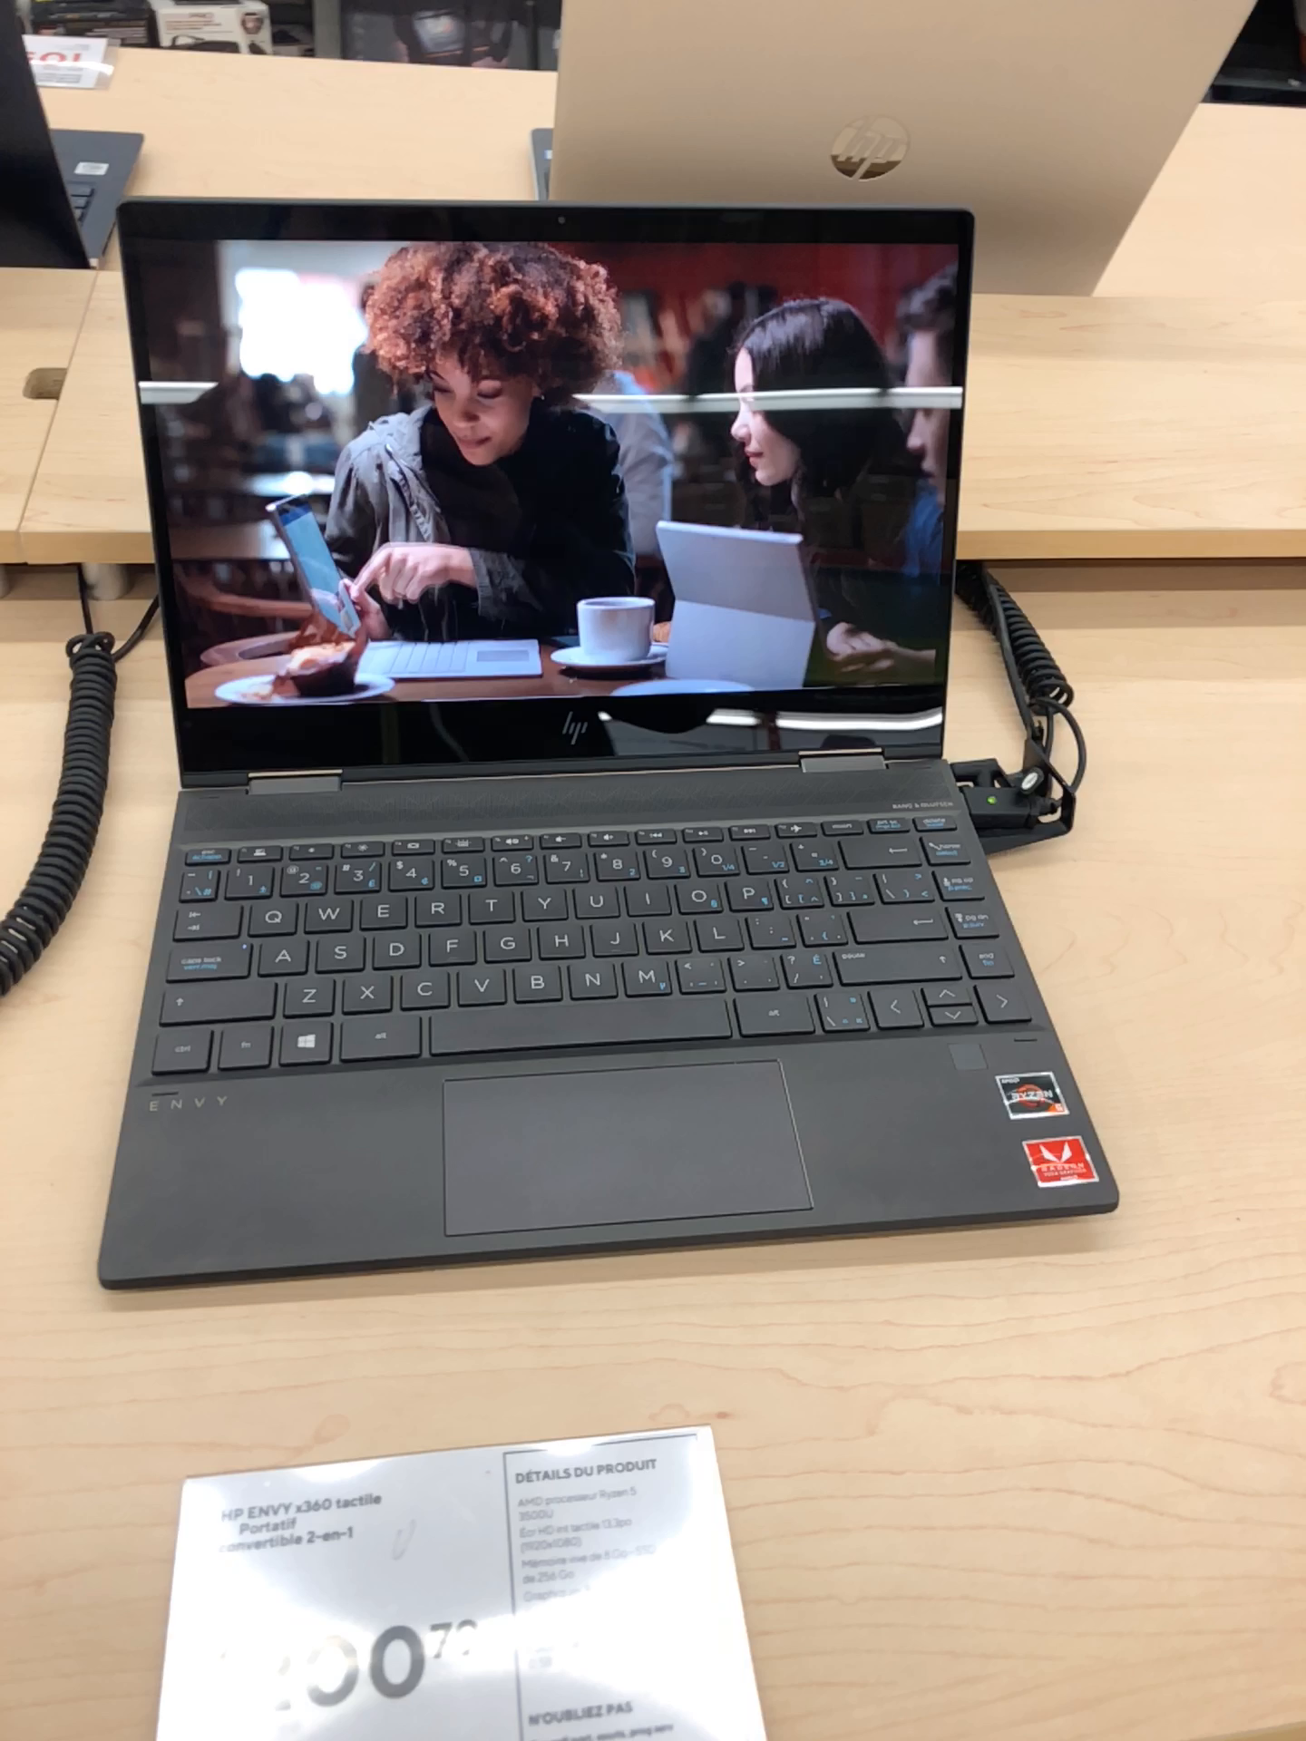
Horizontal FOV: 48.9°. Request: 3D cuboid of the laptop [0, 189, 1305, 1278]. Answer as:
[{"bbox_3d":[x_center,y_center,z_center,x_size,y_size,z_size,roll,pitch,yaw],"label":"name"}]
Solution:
[{"bbox_3d":[-0.015,-0.060,0.456,0.294,0.182,0.289,-3,46,-9],"label":"laptop"}]
